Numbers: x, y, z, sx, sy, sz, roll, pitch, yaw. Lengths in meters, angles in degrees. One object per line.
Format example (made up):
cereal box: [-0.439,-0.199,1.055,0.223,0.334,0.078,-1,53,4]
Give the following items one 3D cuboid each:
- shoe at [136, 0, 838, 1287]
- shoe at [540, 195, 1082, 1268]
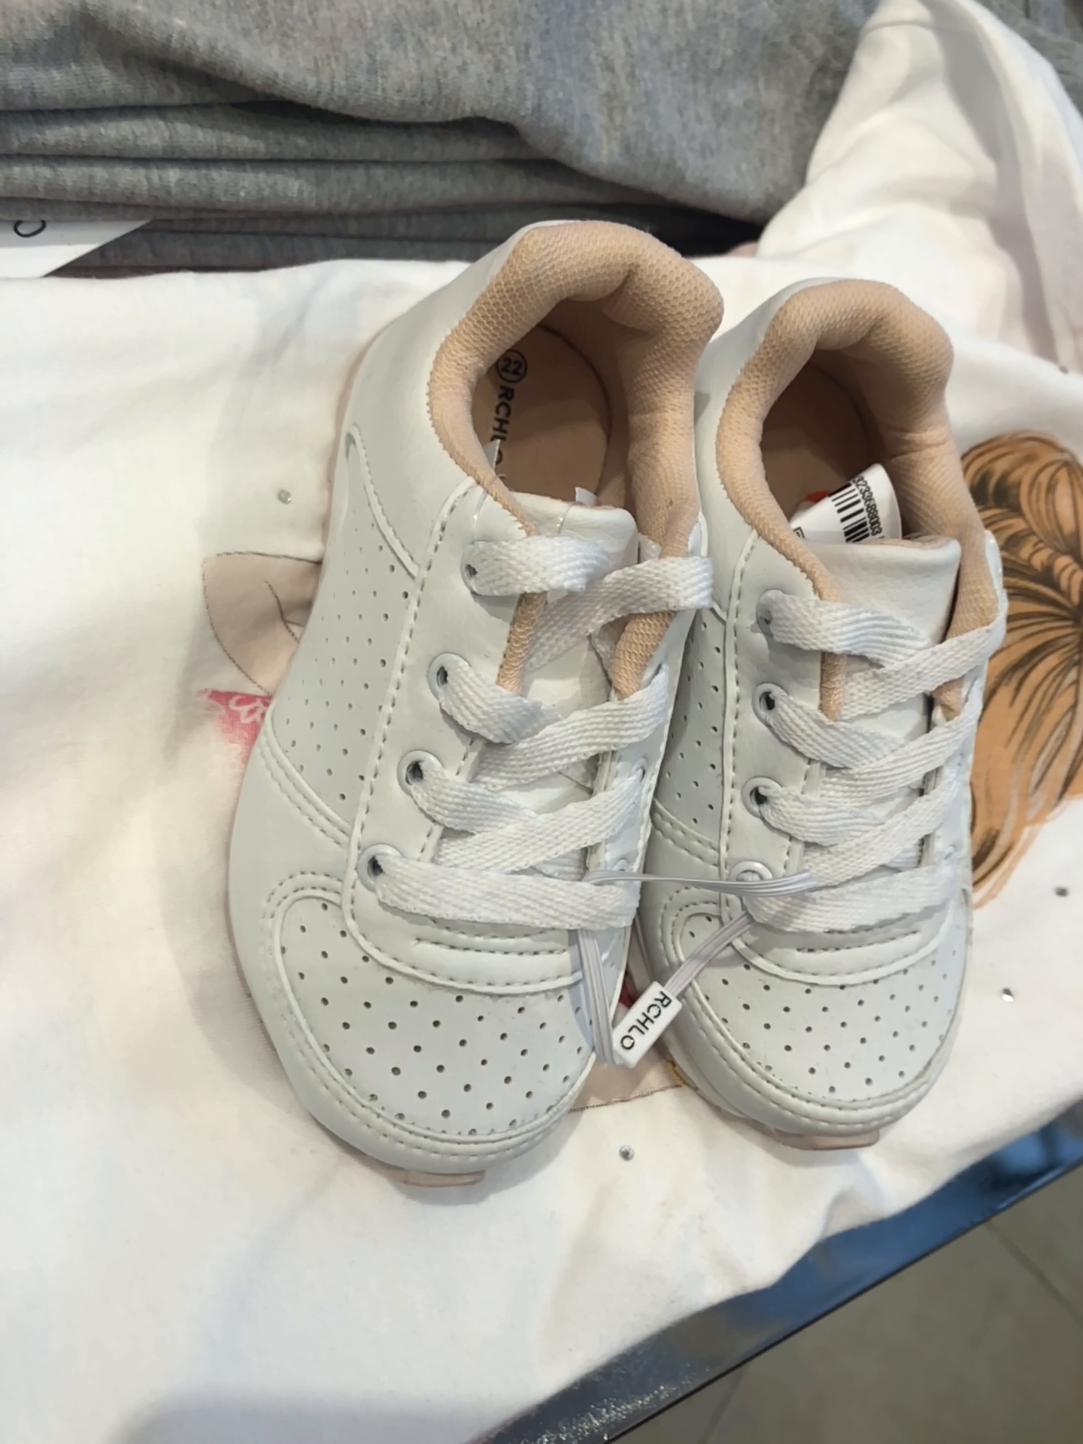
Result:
shoe: [-0.008,-0.008,0.192,0.080,0.060,0.160,8,82,-28]
shoe: [0.054,0.000,0.227,0.080,0.060,0.160,-2,87,-30]
